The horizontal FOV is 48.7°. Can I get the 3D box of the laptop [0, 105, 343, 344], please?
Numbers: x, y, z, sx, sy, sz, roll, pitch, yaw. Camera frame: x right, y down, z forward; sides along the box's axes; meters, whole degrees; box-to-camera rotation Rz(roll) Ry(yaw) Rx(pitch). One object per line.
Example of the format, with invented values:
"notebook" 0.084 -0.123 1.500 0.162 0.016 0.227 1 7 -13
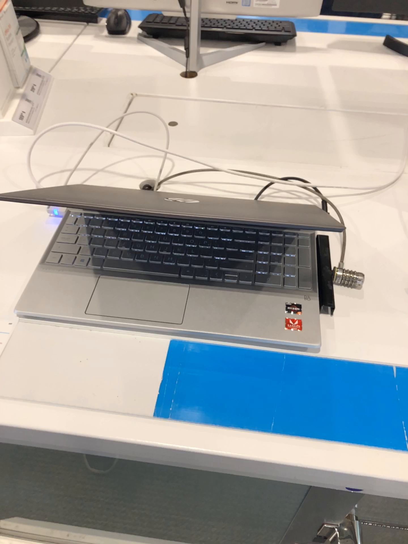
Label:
"laptop" -0.036 -0.069 0.538 0.350 0.134 0.232 6 48 6
